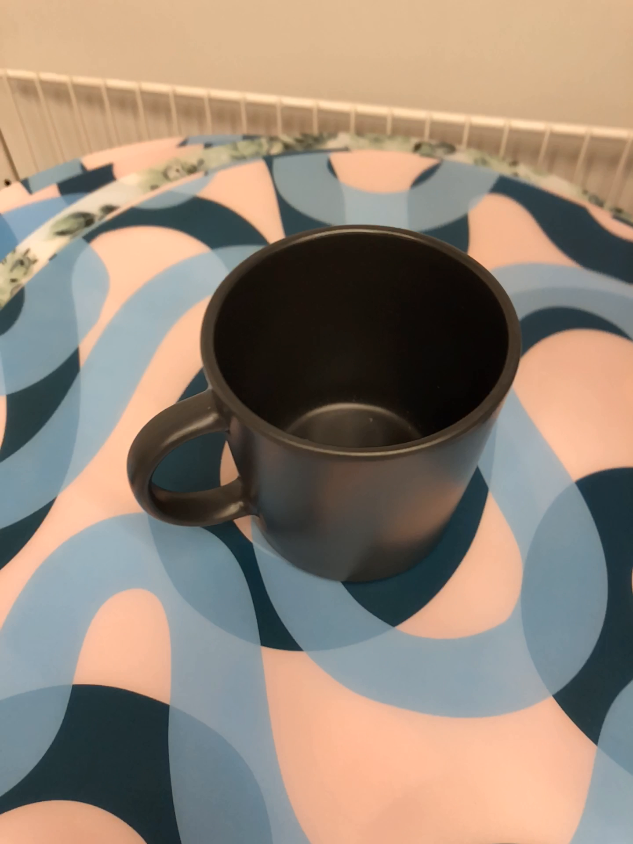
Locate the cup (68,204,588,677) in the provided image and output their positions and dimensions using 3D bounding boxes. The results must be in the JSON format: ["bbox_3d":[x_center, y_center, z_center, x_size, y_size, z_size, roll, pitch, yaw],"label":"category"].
[{"bbox_3d":[-0.003,0.005,0.228,0.120,0.090,0.090,-14,52,-10],"label":"cup"}]
